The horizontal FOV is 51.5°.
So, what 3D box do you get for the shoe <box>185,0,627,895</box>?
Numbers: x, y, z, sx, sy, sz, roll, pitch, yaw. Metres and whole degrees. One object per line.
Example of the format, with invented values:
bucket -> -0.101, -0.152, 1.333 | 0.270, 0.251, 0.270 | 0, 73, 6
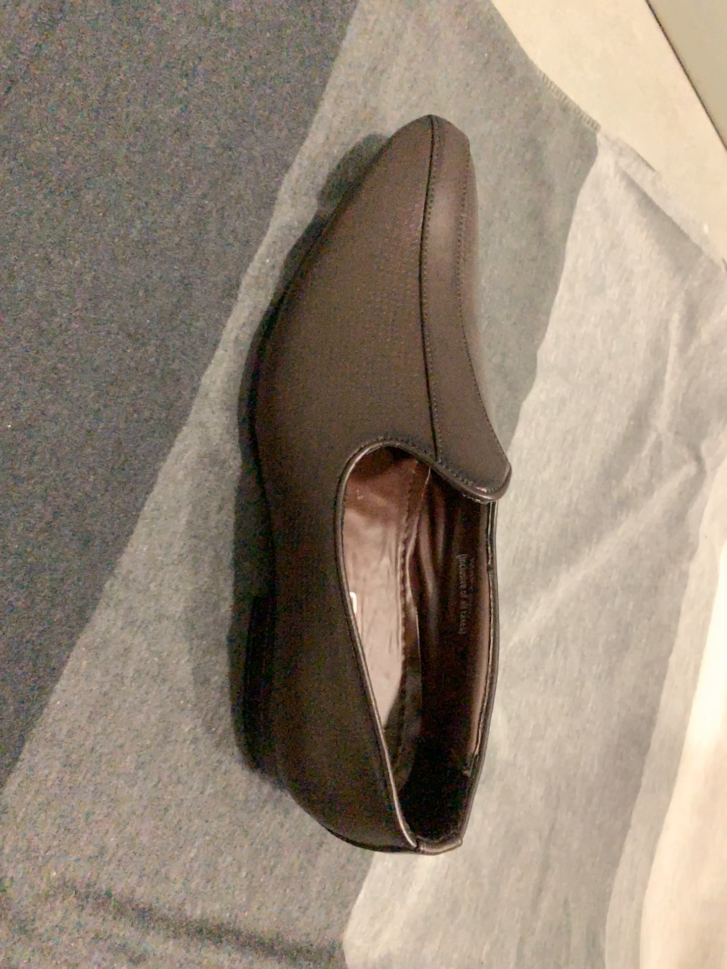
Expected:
shoe -> 0.016, -0.011, 0.291 | 0.100, 0.100, 0.270 | 11, 84, -33
